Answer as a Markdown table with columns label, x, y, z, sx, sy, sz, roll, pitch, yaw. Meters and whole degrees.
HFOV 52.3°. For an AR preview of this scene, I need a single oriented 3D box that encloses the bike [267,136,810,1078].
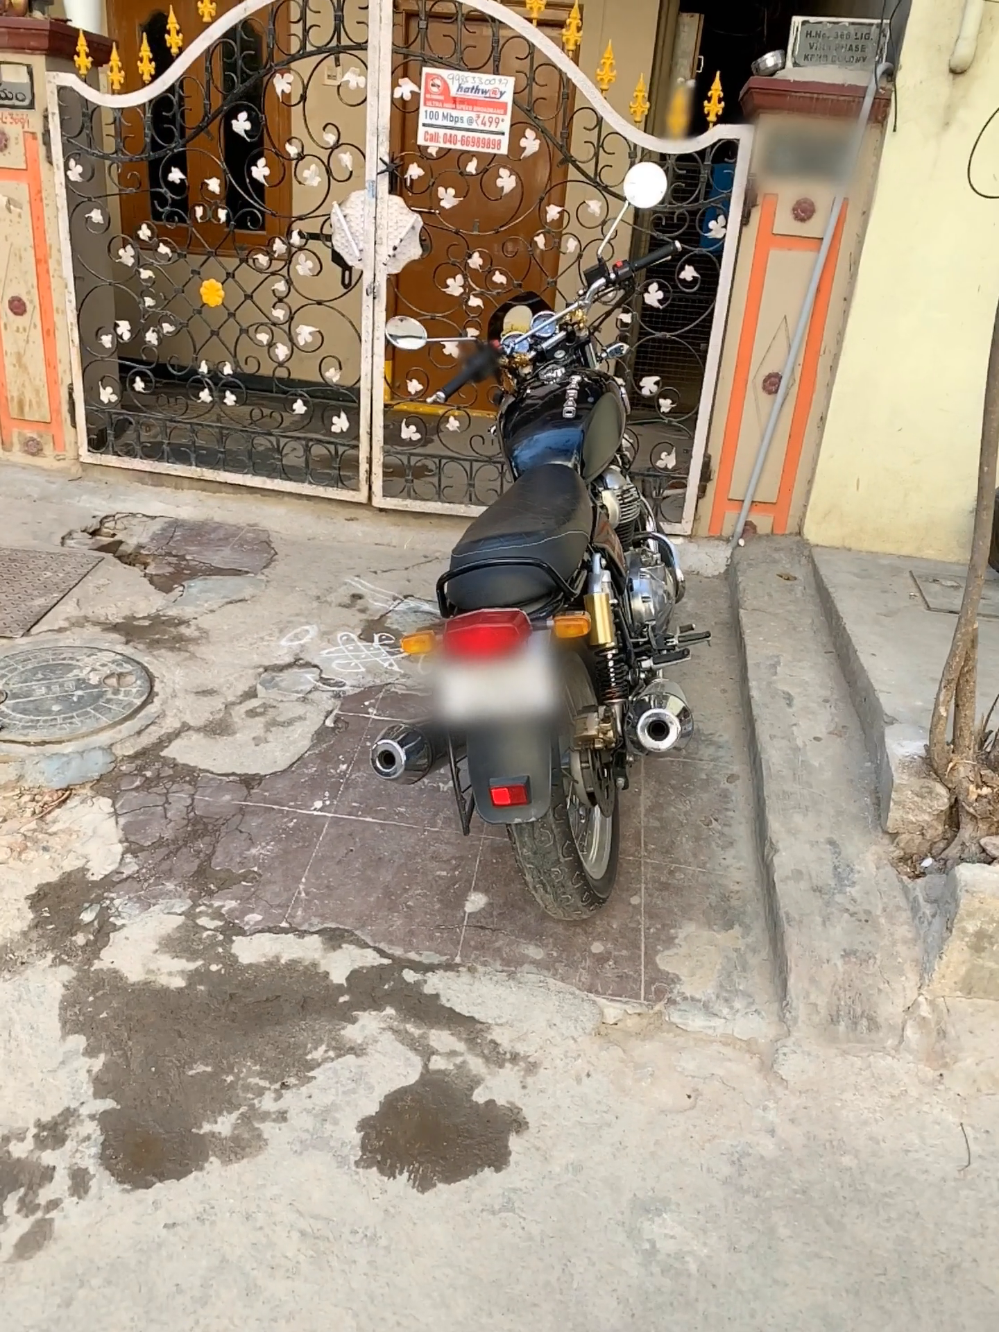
| label | x | y | z | sx | sy | sz | roll | pitch | yaw |
| --- | --- | --- | --- | --- | --- | --- | --- | --- | --- |
| bike | 0.028 | -0.400 | 2.602 | 0.791 | 1.522 | 1.913 | 5 | 28 | 0 |
